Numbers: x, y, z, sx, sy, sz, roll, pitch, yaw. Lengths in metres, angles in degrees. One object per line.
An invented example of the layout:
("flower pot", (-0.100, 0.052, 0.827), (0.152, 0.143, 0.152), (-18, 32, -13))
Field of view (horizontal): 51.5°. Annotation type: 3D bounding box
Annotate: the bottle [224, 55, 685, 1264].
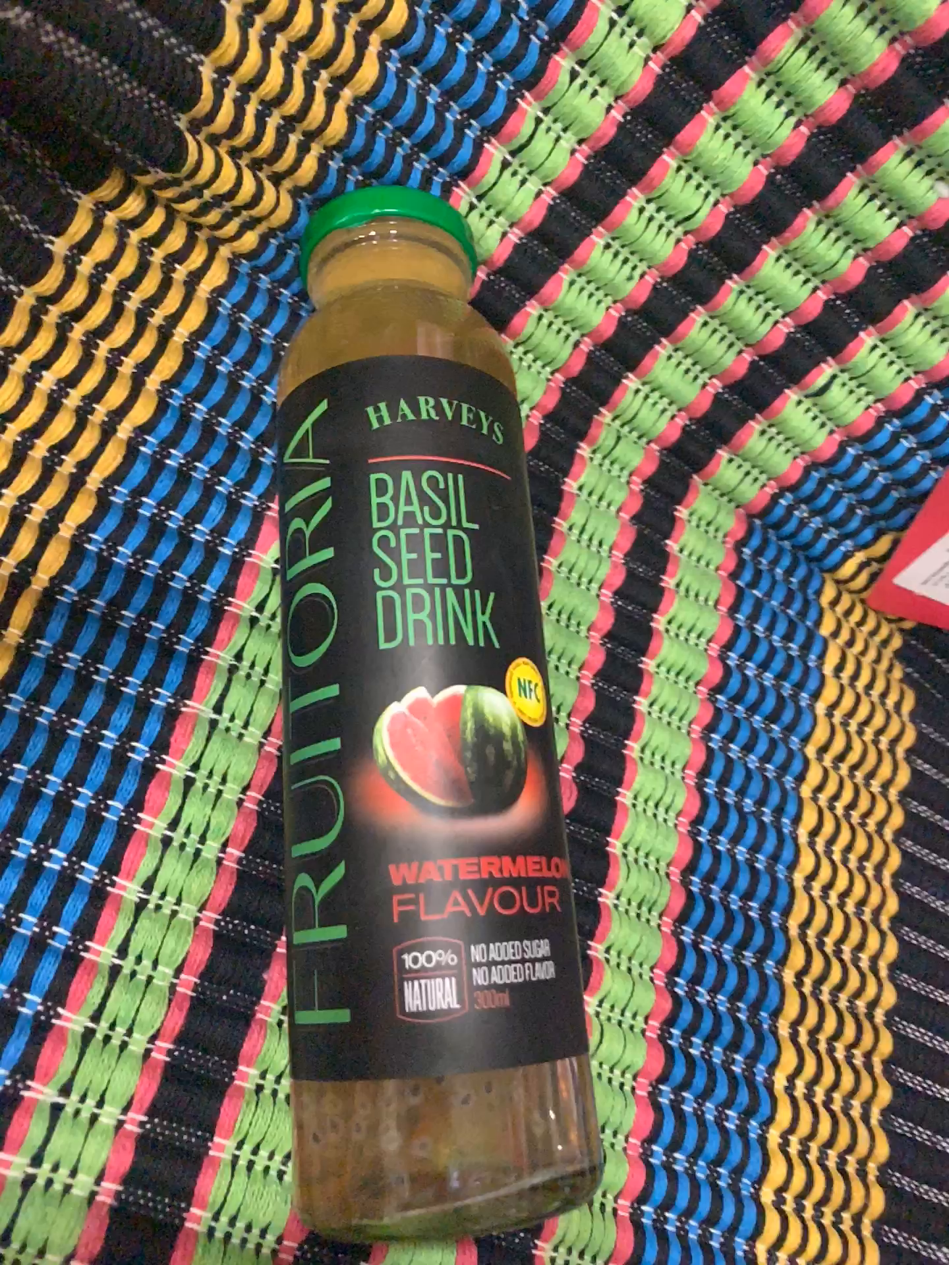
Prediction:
("bottle", (-0.013, -0.001, 0.183), (0.060, 0.060, 0.200), (-1, 73, -11))
